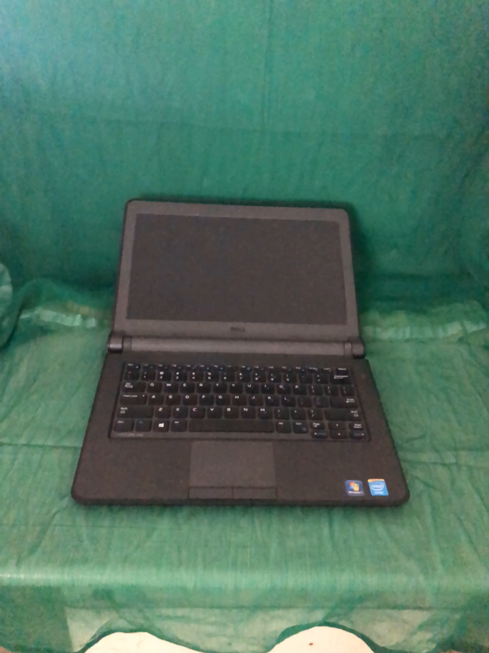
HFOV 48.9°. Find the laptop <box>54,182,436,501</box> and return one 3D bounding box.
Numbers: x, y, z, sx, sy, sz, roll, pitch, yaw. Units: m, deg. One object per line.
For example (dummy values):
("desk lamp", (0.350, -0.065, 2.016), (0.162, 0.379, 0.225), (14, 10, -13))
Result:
("laptop", (-0.004, -0.019, 0.624), (0.311, 0.096, 0.422), (2, 40, -3))
